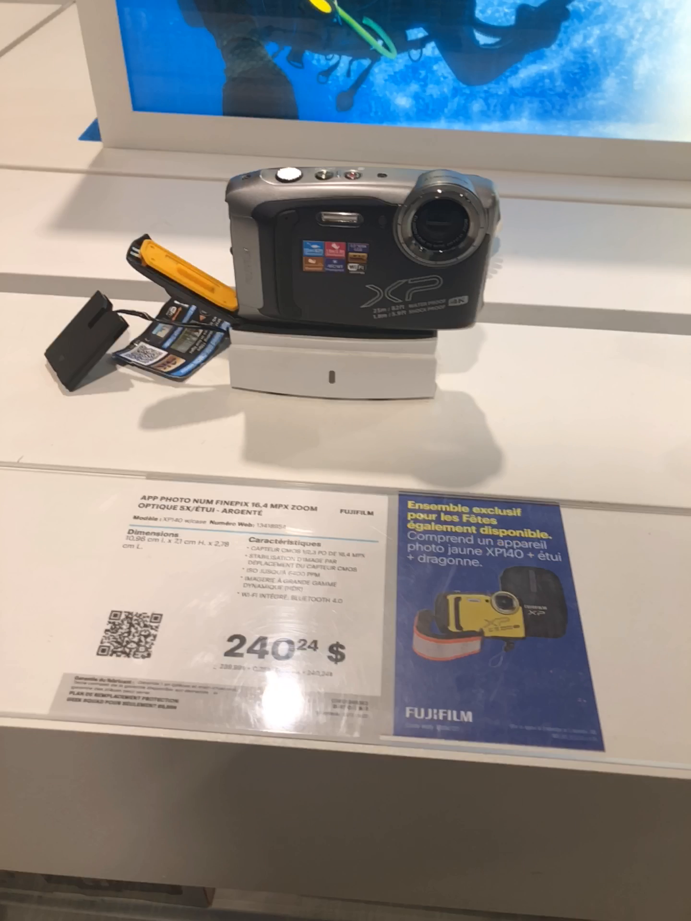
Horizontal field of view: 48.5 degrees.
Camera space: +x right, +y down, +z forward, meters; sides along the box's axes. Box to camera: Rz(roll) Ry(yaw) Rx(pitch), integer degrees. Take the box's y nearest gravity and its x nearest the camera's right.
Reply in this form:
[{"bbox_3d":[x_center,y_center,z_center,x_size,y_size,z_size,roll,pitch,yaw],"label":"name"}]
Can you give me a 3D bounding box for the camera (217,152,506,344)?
[{"bbox_3d":[0.005,-0.085,0.313,0.106,0.069,0.023,2,43,0],"label":"camera"}]
